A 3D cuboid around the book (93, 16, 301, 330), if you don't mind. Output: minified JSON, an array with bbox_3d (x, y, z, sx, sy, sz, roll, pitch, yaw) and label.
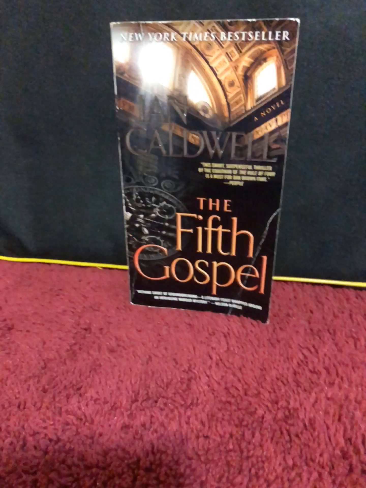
[{"bbox_3d":[0.011,-0.046,0.294,0.120,0.199,0.050,7,25,17],"label":"book"}]
